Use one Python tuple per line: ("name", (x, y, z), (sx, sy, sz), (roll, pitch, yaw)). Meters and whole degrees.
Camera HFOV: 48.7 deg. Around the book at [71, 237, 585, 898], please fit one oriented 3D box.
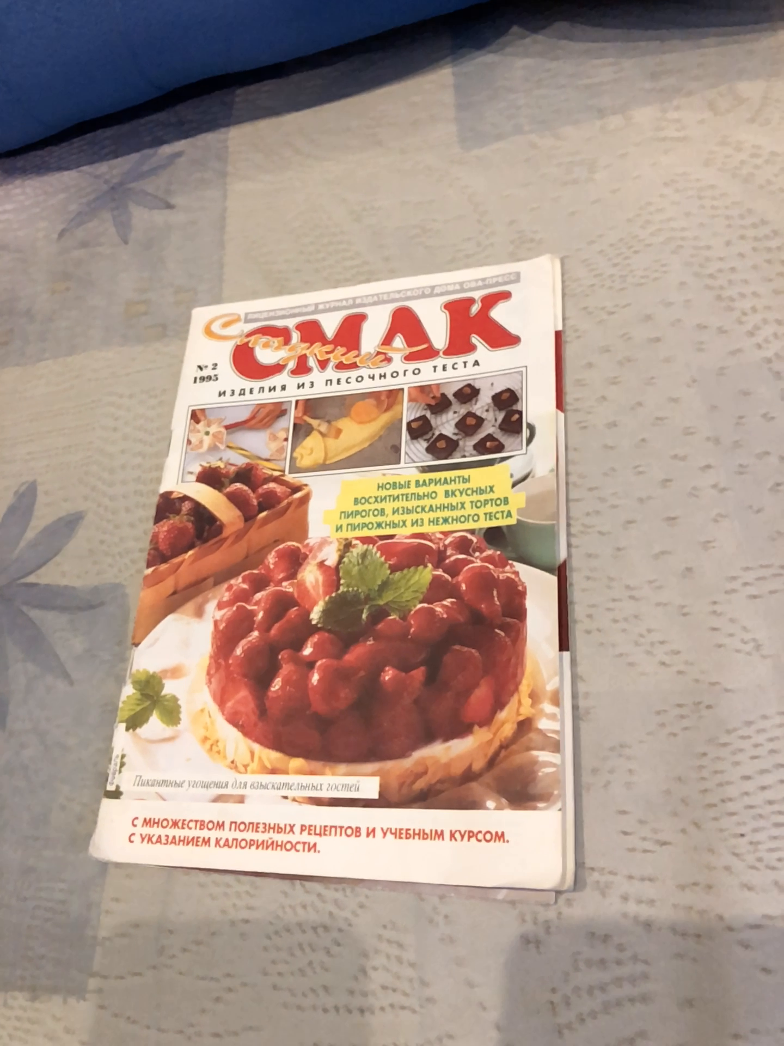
("book", (-0.020, 0.007, 0.335), (0.177, 0.020, 0.241), (-4, 66, 18))
